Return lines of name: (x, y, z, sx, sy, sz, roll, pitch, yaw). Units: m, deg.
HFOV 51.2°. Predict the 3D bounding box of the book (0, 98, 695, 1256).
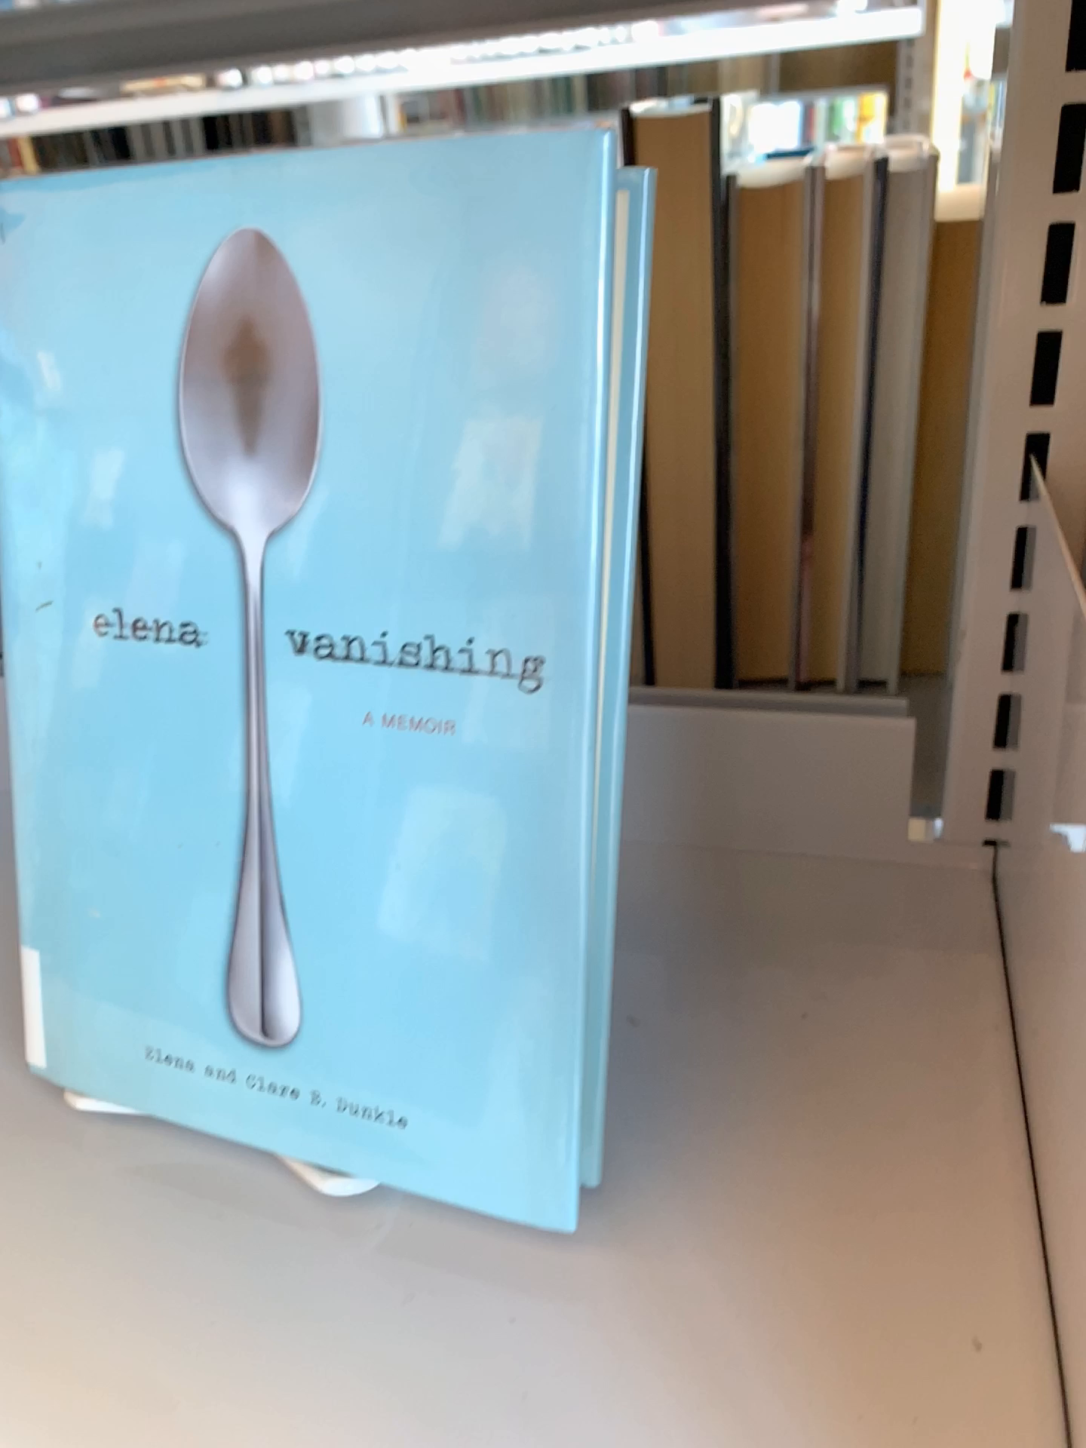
book: (-0.055, -0.009, 0.241, 0.159, 0.203, 0.035, 6, 12, 22)
